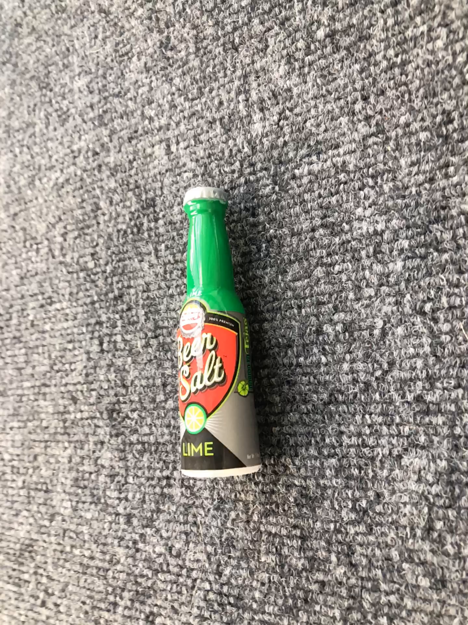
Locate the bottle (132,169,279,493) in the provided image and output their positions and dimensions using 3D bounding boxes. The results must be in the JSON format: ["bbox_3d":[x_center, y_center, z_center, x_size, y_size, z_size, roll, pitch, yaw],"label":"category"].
[{"bbox_3d":[-0.011,0.007,0.183,0.033,0.030,0.101,-11,79,33],"label":"bottle"}]
